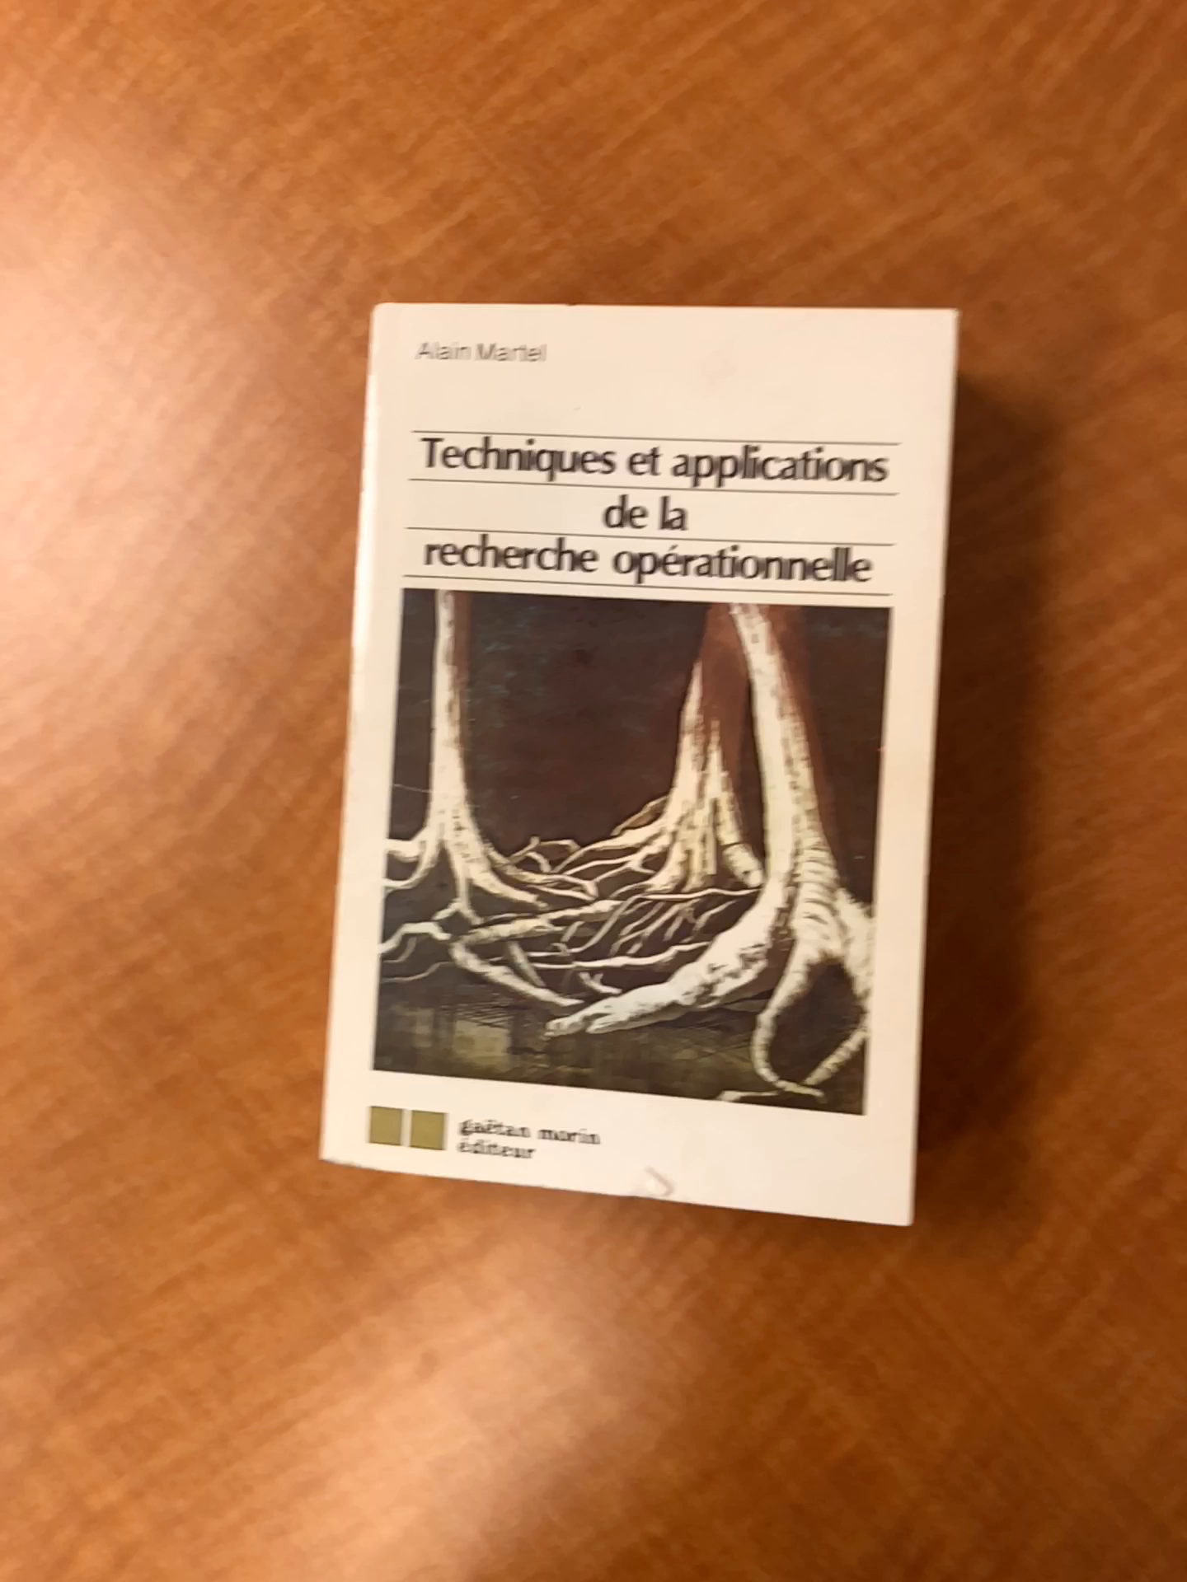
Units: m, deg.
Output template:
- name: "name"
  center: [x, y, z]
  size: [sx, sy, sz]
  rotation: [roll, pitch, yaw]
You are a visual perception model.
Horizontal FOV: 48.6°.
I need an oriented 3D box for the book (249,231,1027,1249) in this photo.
- name: "book"
  center: [0.013, -0.016, 0.342]
  size: [0.170, 0.070, 0.230]
  rotation: [3, 89, 8]
